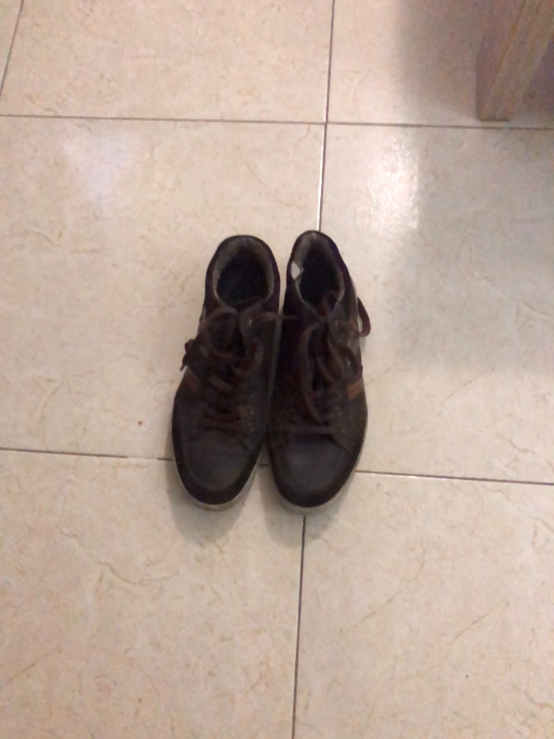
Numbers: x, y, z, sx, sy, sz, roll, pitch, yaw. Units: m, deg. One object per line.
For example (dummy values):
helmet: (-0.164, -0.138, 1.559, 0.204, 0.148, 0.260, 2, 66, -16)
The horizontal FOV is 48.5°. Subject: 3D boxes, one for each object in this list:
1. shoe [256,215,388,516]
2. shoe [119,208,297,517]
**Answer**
shoe: (0.043, -0.001, 0.656, 0.120, 0.110, 0.300, -1, 73, 3)
shoe: (-0.061, -0.006, 0.661, 0.120, 0.110, 0.300, 8, 74, 5)
